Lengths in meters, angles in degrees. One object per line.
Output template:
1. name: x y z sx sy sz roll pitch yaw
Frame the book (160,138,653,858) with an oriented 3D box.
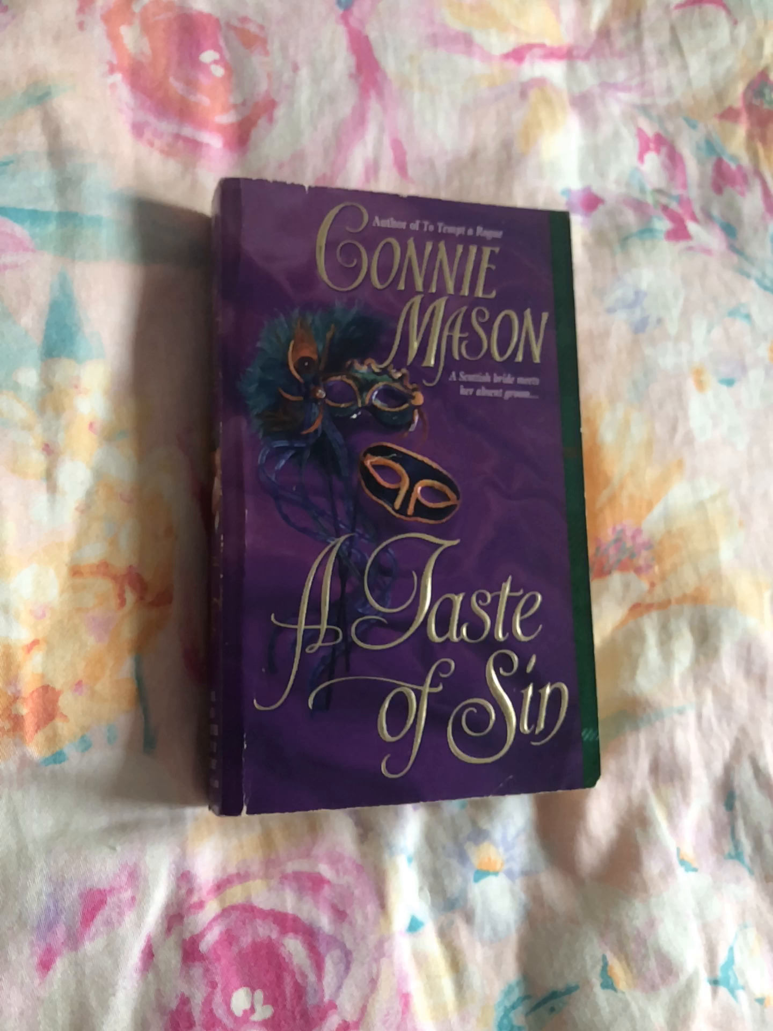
1. book: 0.001 -0.008 0.249 0.120 0.040 0.180 1 74 -22
